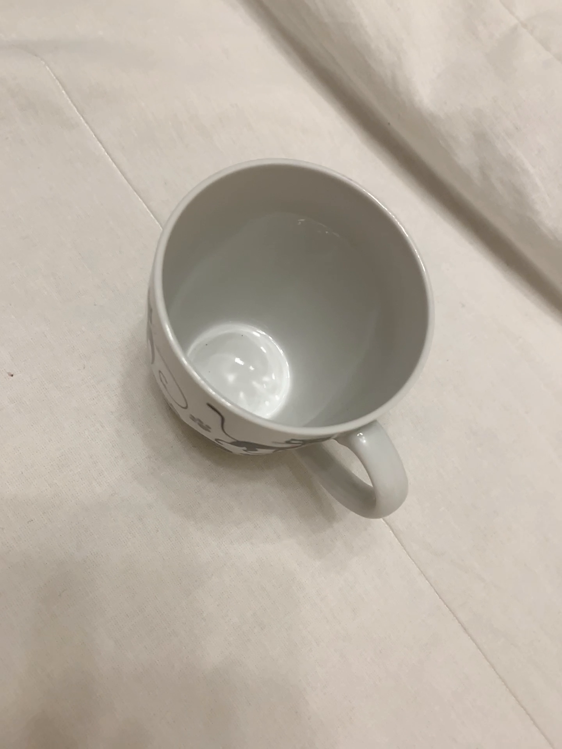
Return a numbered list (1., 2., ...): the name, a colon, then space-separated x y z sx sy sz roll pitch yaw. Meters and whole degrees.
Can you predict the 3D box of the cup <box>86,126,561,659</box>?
1. cup: 0.003 0.005 0.185 0.081 0.077 0.119 -23 80 -20
